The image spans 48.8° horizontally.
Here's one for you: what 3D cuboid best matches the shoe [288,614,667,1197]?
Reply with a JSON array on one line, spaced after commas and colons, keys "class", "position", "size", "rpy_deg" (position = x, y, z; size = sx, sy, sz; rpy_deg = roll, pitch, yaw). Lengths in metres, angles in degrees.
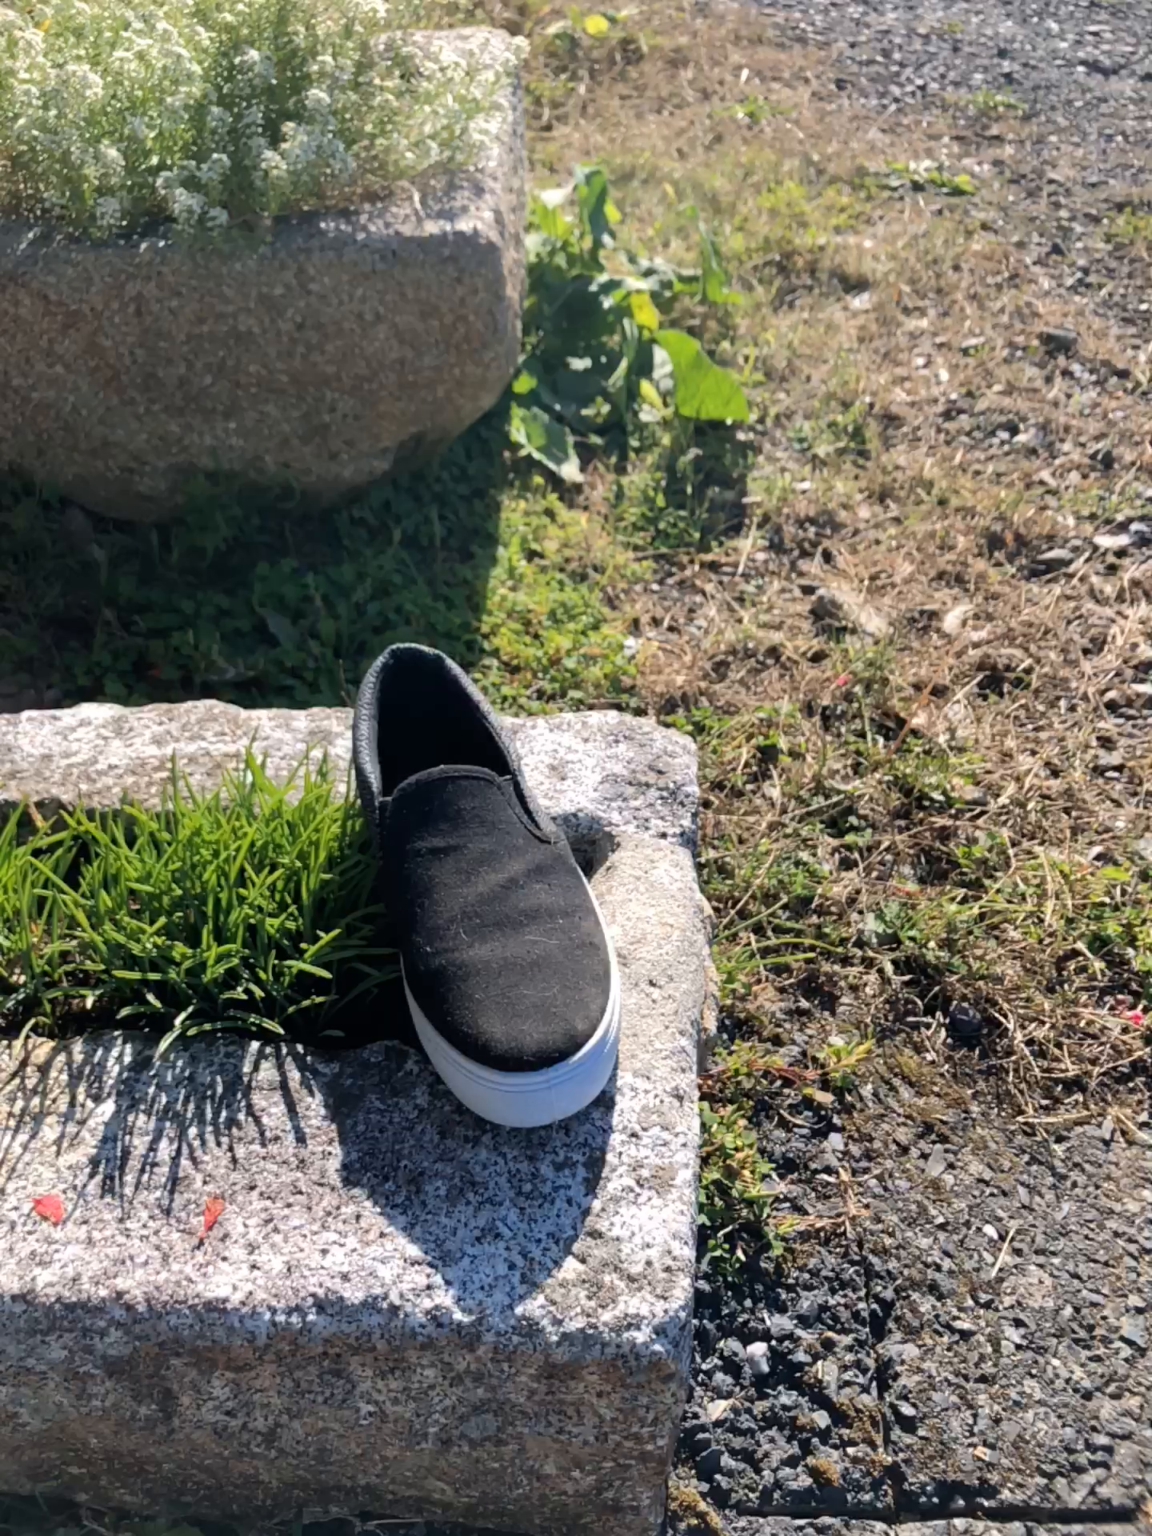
[{"class": "shoe", "position": [-0.053, 0.042, 0.562], "size": [0.100, 0.080, 0.261], "rpy_deg": [-13, 41, -12]}]
